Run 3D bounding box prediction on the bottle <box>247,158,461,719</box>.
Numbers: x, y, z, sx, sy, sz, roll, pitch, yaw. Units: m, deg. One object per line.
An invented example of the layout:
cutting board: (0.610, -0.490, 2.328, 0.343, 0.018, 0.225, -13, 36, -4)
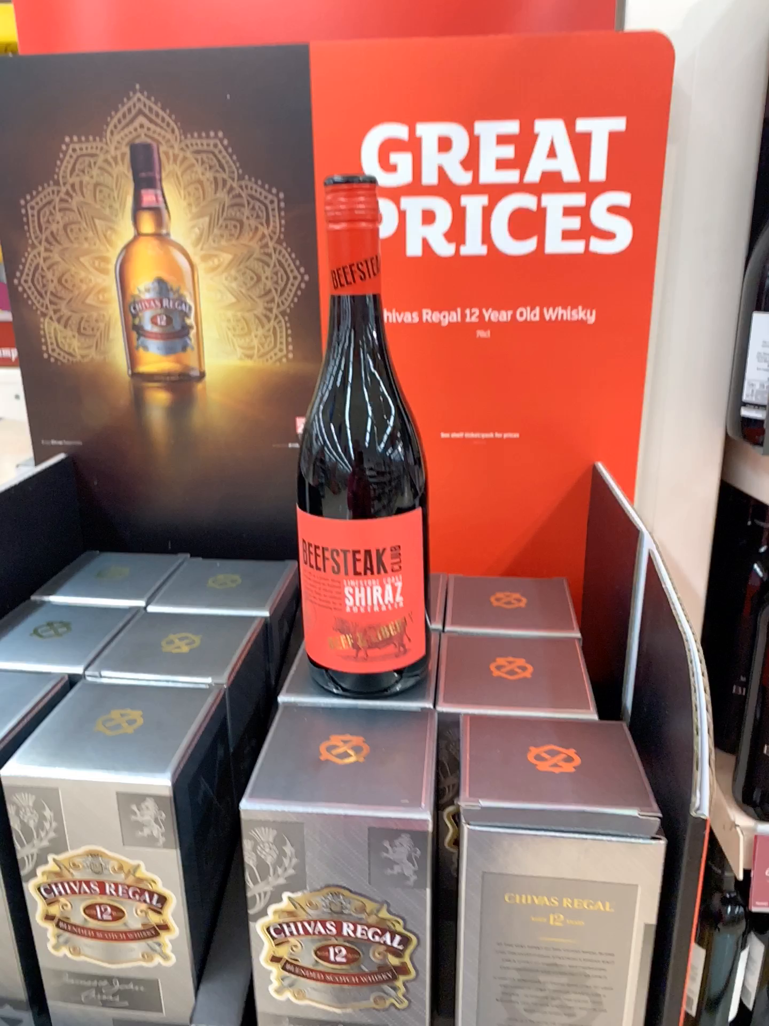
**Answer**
bottle: (-0.011, -0.038, 0.443, 0.083, 0.284, 0.080, -1, 19, 0)
